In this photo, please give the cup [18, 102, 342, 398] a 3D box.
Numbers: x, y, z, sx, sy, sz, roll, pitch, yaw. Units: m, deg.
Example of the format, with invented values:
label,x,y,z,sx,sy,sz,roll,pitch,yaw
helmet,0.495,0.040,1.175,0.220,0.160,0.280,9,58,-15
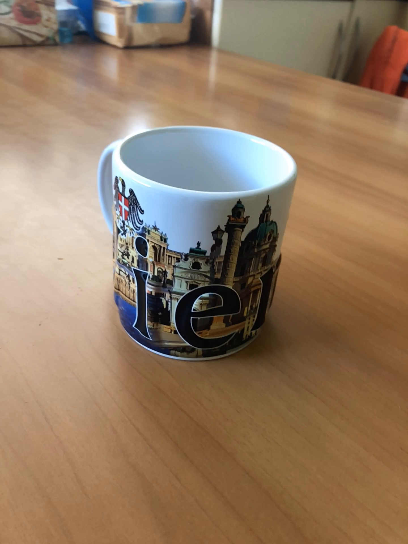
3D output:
label,x,y,z,sx,sy,sz,roll,pitch,yaw
cup,-0.020,-0.029,0.284,0.111,0.099,0.150,-27,46,-38
